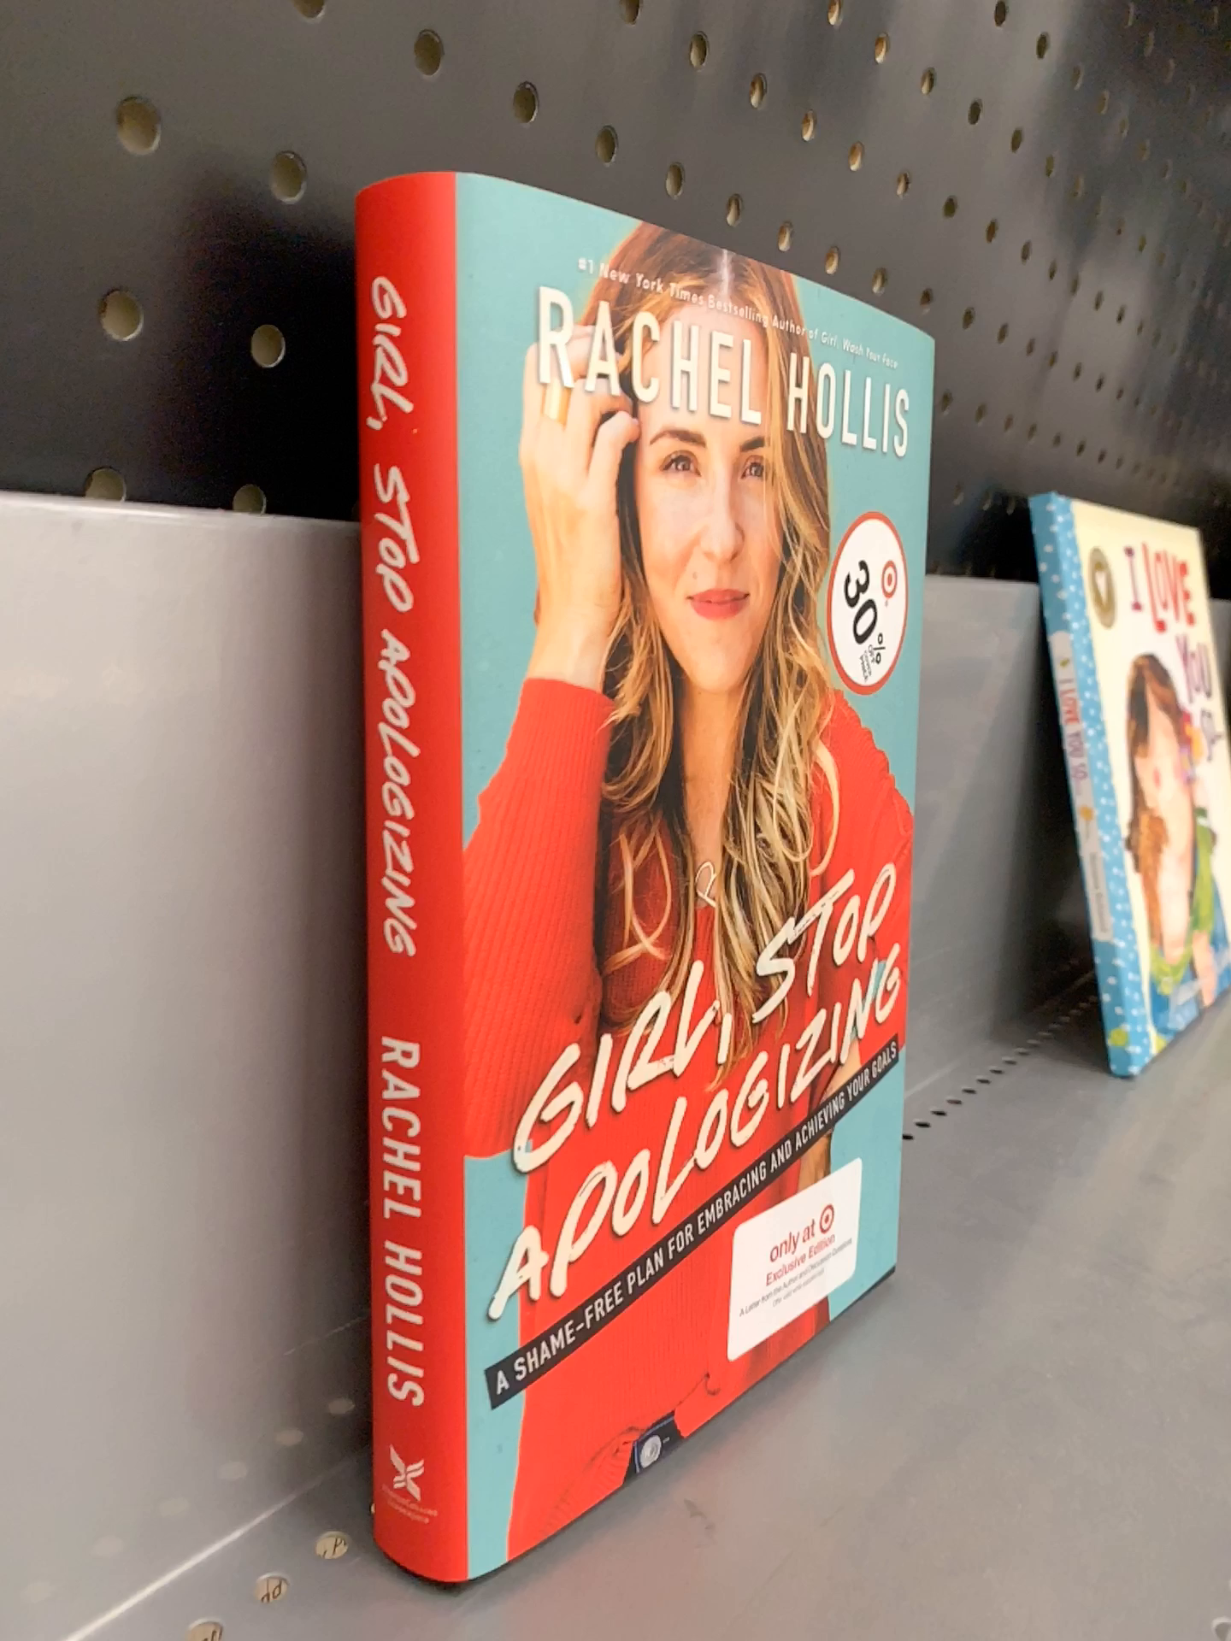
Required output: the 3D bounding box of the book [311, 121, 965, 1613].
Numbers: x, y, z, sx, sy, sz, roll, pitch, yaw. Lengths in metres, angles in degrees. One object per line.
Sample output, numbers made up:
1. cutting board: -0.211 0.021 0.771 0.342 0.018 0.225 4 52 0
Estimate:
1. book: 0.014 0.006 0.254 0.035 0.220 0.149 7 10 40
